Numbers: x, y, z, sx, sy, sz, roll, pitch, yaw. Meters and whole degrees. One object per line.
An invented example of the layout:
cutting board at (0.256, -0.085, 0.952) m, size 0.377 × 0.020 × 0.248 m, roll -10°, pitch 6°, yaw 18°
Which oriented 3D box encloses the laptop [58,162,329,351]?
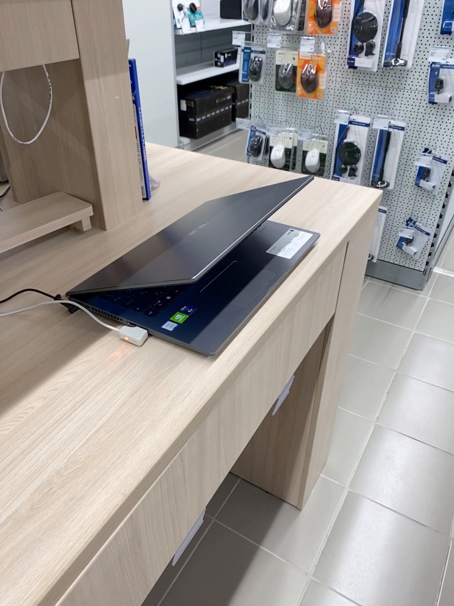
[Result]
laptop at (-0.024, -0.100, 0.690) m, size 0.236 × 0.088 × 0.354 m, roll 18°, pitch 38°, yaw 23°
